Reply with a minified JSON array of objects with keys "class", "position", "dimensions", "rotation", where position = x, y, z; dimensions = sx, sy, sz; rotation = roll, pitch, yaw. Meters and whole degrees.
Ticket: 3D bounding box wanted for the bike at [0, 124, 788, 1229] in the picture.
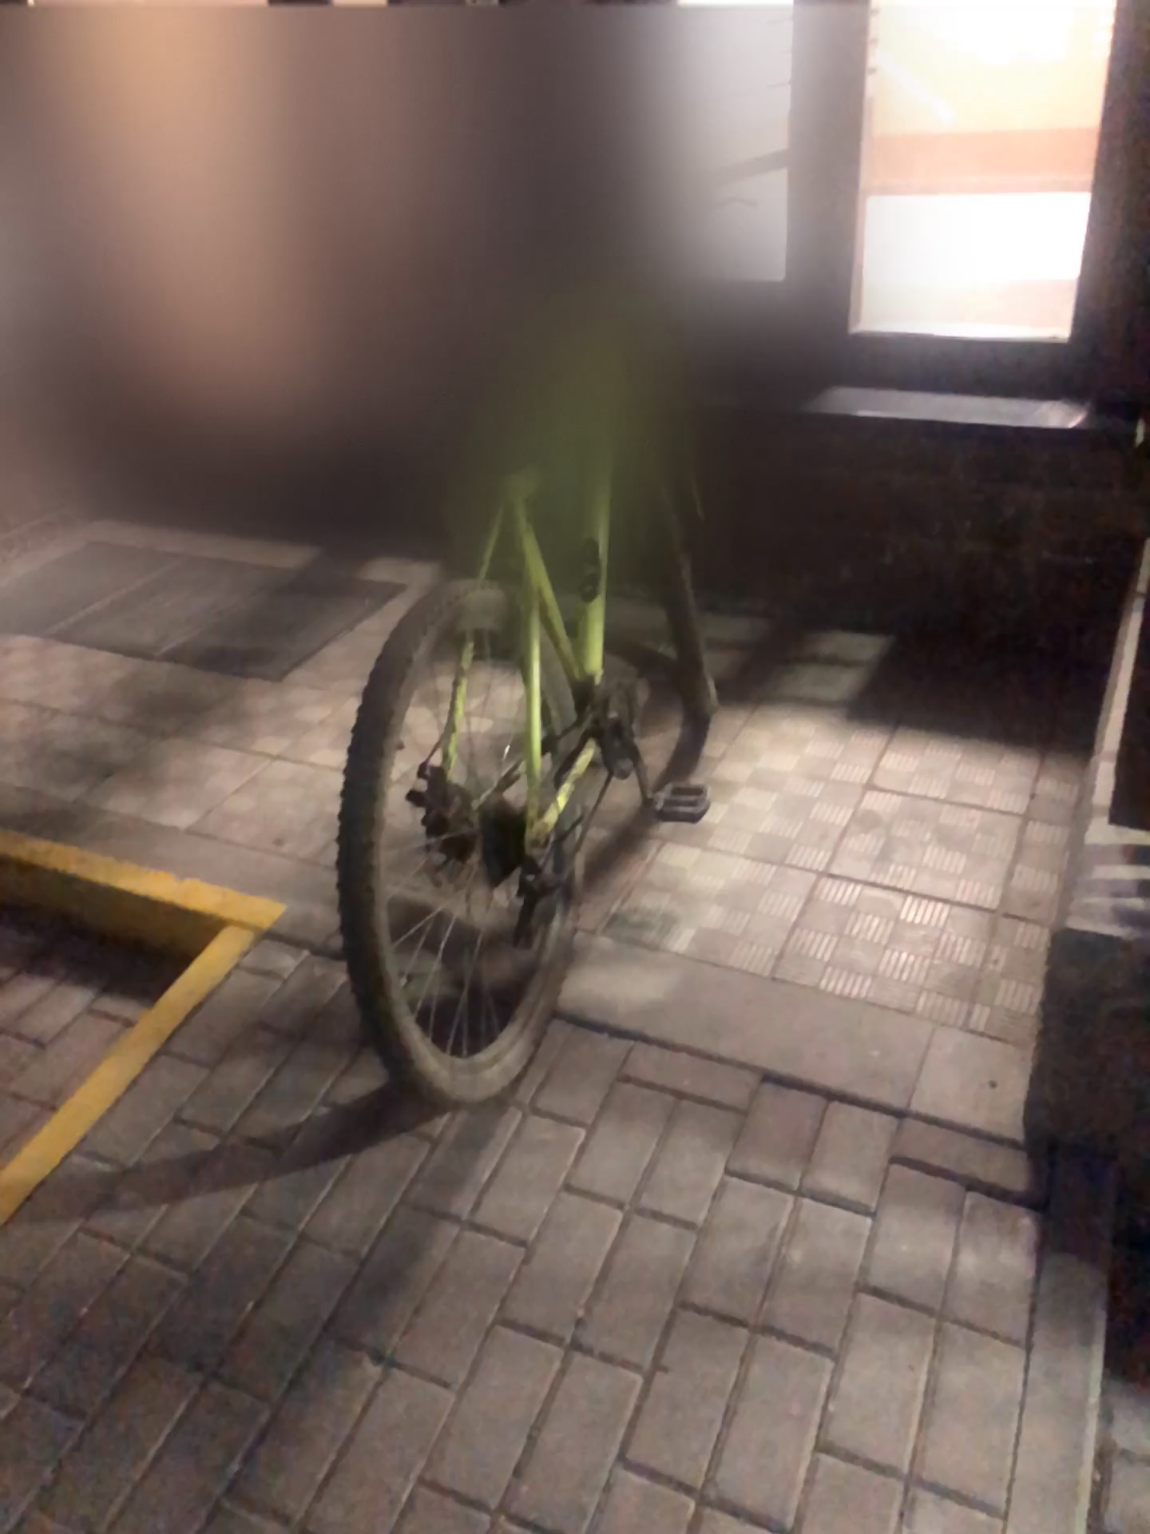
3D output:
[{"class":"bike","position":[-0.104,-0.388,2.139],"dimensions":[0.720,1.095,1.768],"rotation":[5,31,14]}]
